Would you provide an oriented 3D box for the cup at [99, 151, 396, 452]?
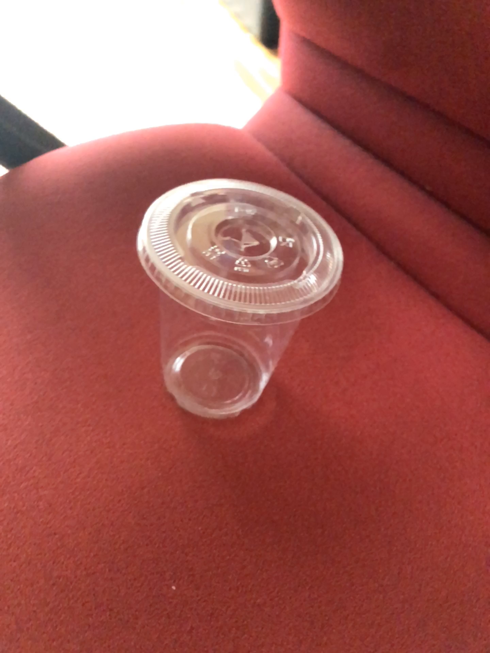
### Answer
[{"bbox_3d":[-0.008,-0.017,0.281,0.100,0.090,0.100,7,47,-8],"label":"cup"}]
